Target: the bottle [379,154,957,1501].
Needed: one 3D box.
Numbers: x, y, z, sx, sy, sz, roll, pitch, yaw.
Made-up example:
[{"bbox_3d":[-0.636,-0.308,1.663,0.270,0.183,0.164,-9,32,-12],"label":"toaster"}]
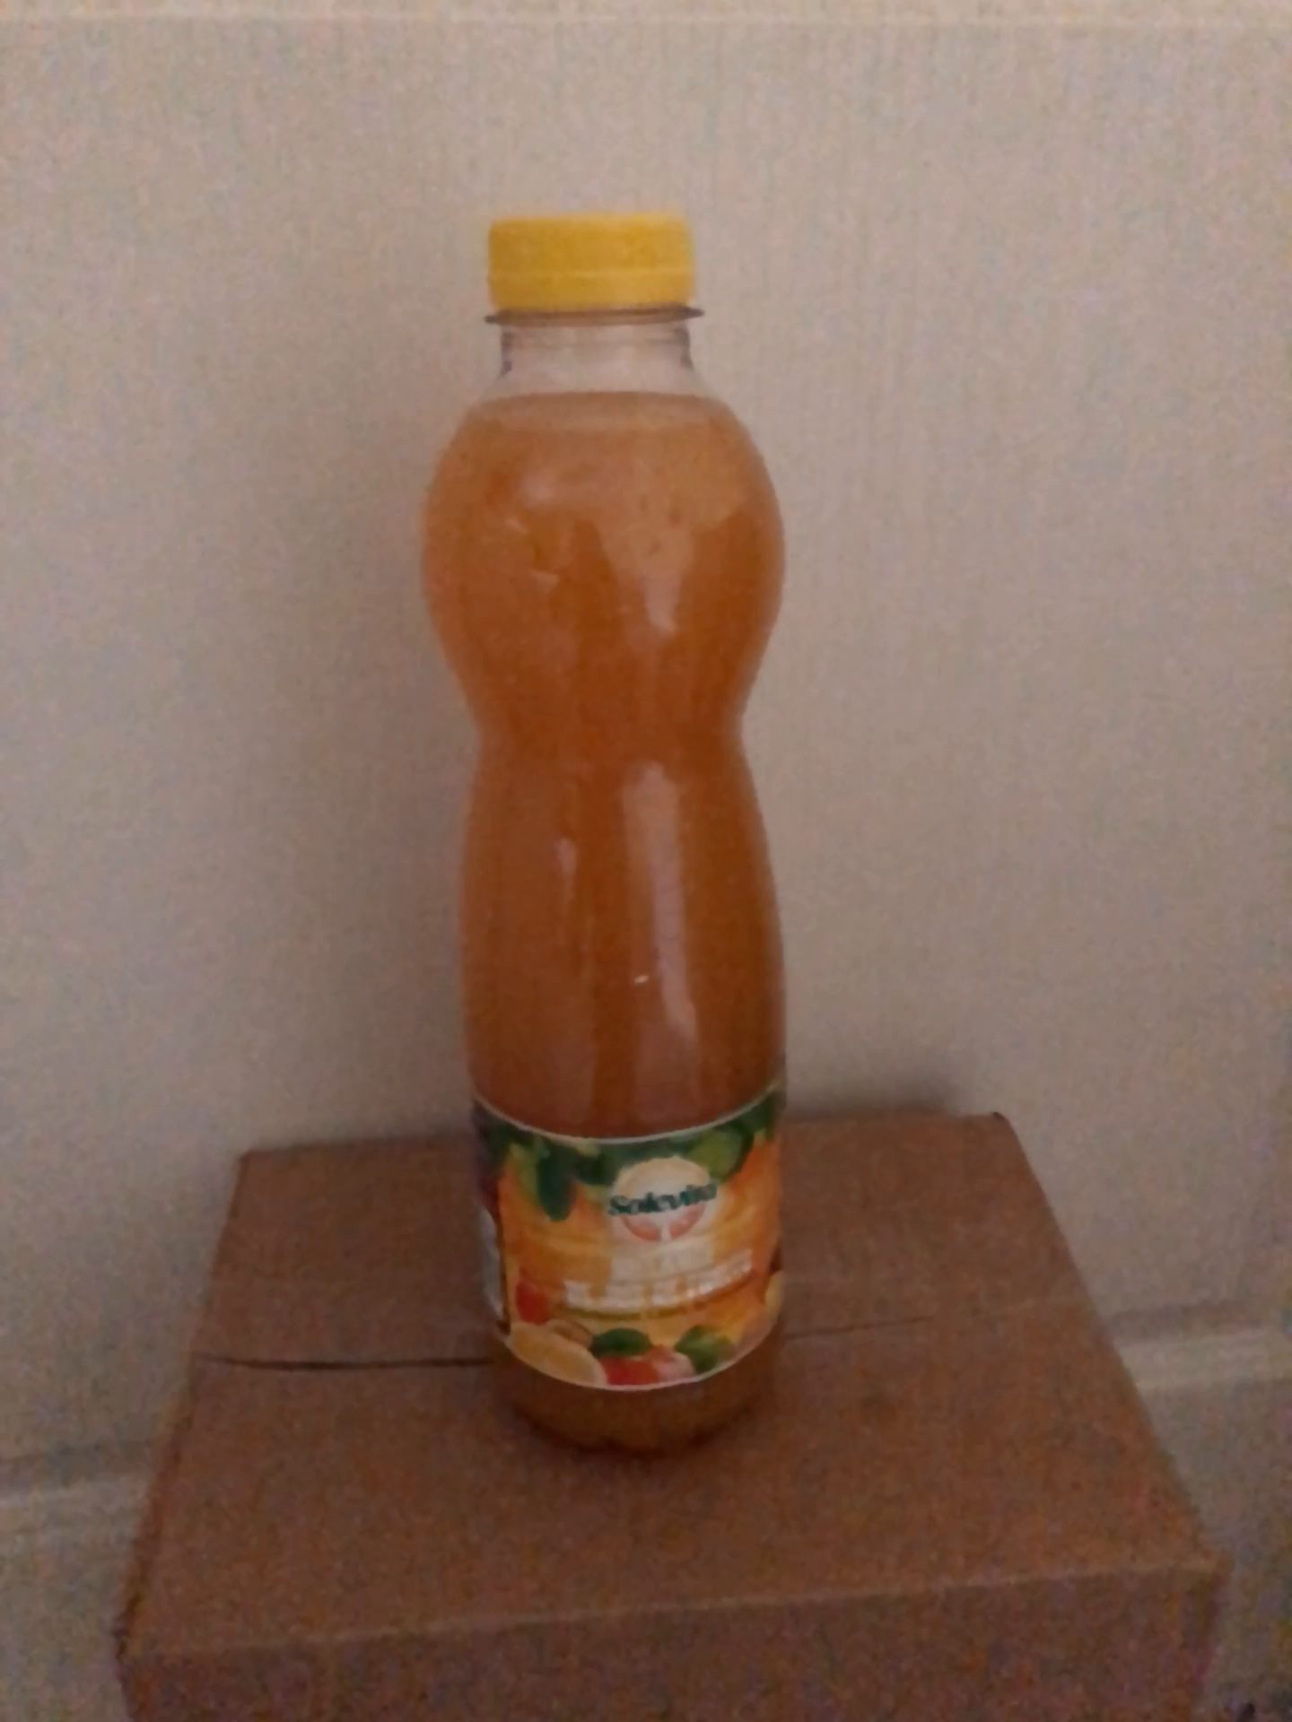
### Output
[{"bbox_3d":[0.000,0.001,0.313,0.080,0.278,0.080,0,27,0],"label":"bottle"}]
